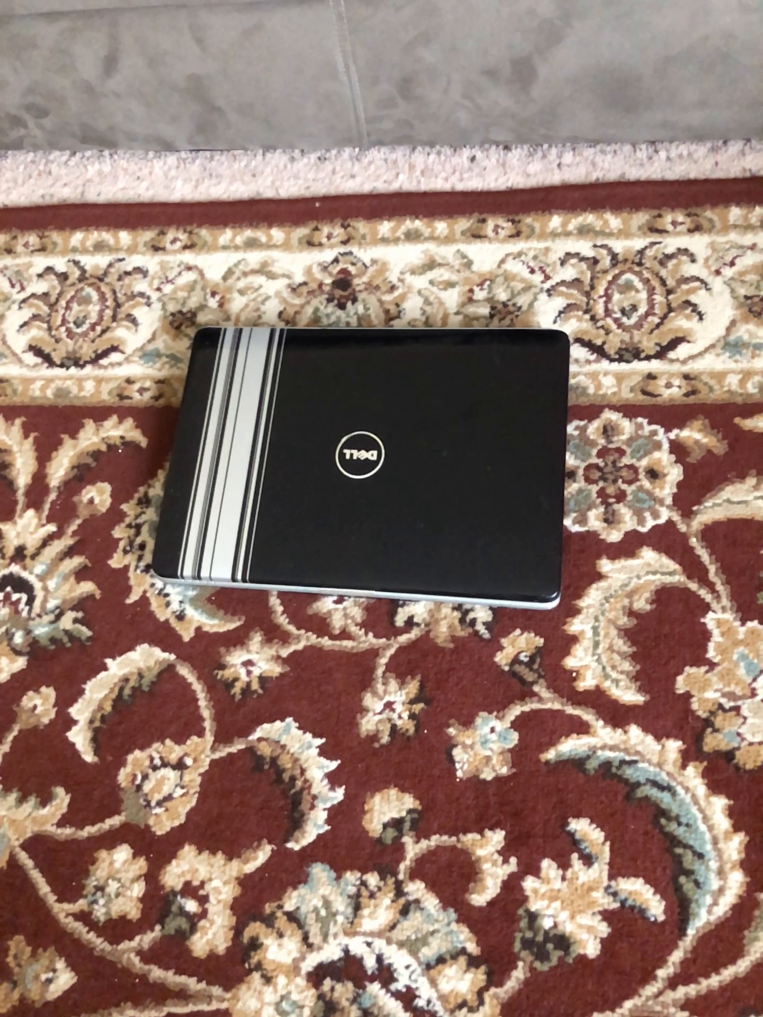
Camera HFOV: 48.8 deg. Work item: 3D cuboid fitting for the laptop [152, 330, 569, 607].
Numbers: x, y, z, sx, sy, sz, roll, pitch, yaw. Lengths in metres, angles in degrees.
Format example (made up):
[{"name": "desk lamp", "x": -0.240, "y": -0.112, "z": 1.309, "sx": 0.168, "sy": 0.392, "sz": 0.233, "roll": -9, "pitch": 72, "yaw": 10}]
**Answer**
[{"name": "laptop", "x": -0.017, "y": -0.046, "z": 0.751, "sx": 0.351, "sy": 0.015, "sz": 0.242, "roll": 3, "pitch": 73, "yaw": 10}]
